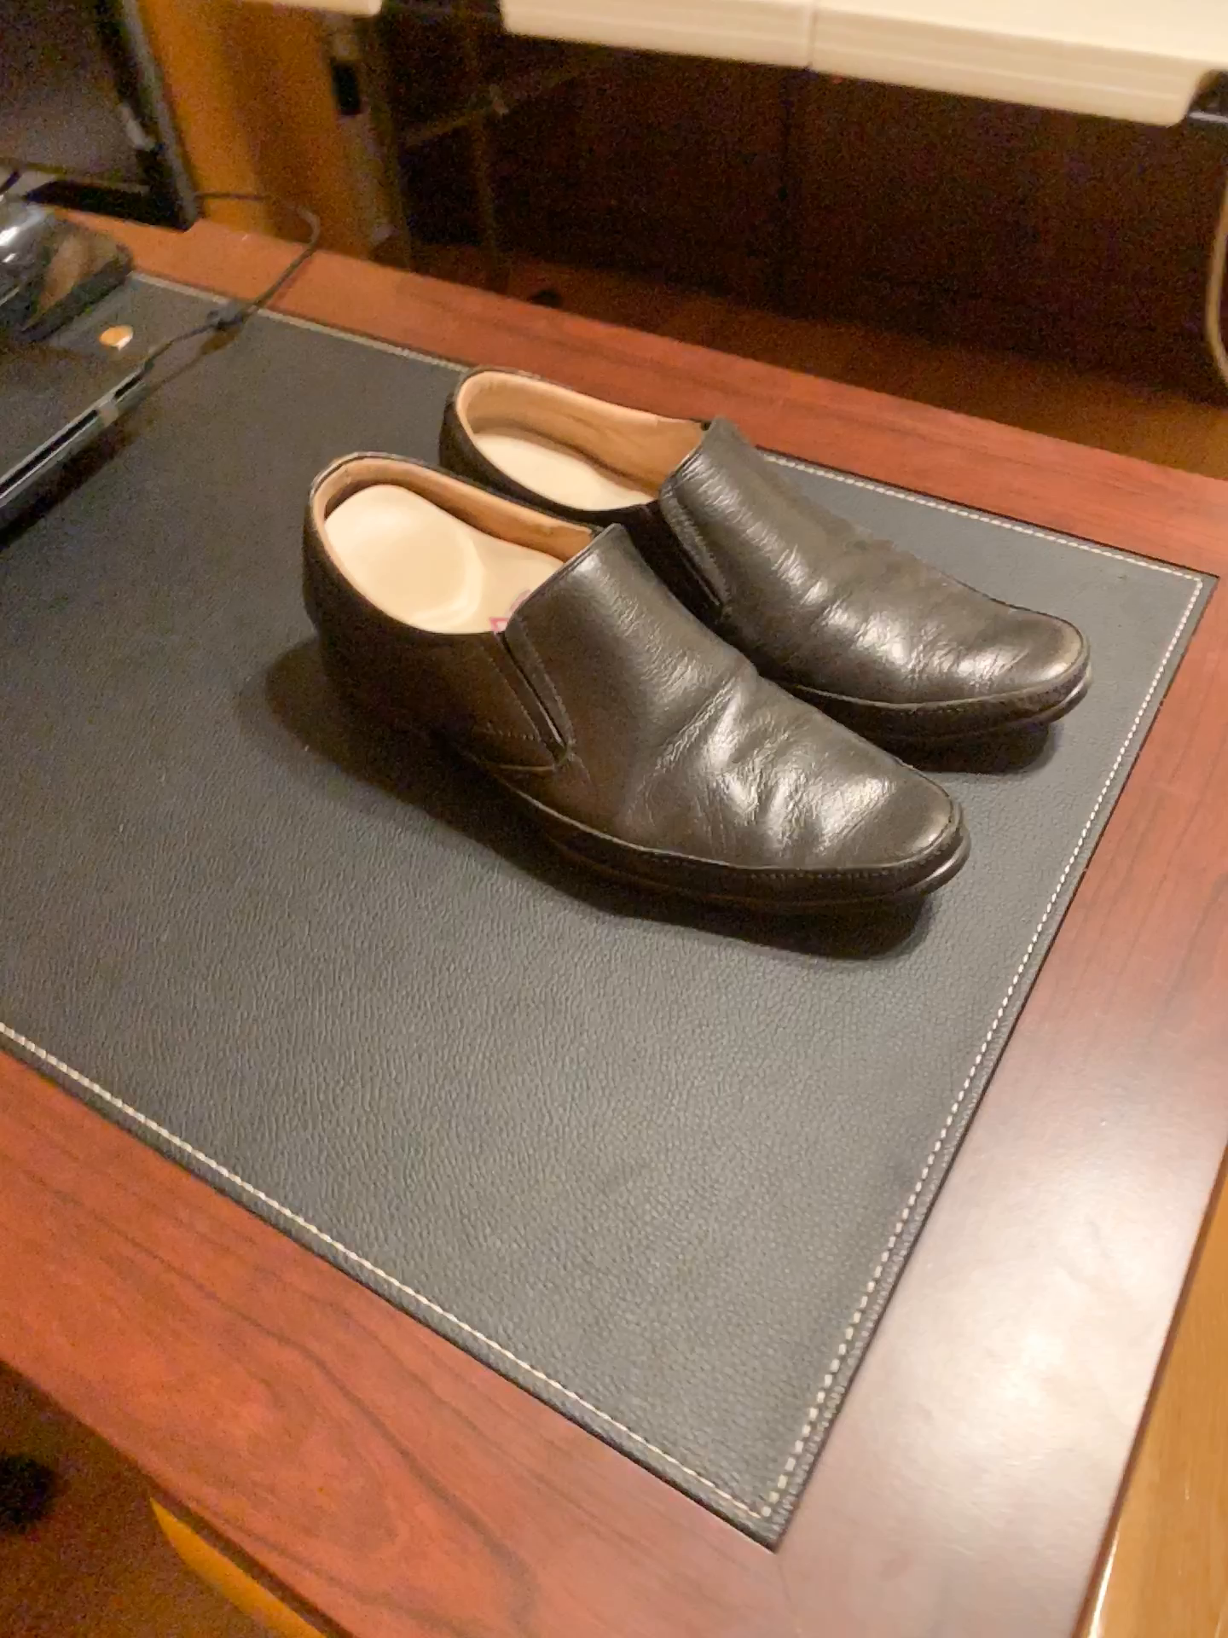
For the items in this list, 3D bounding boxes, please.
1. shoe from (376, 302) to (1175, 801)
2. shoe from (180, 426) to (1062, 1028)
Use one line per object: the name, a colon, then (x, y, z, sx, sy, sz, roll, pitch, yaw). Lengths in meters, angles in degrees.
shoe: (0.056, -0.118, 0.509, 0.285, 0.077, 0.106, 23, 55, 22)
shoe: (-0.004, -0.046, 0.458, 0.285, 0.077, 0.111, 23, 55, 22)
